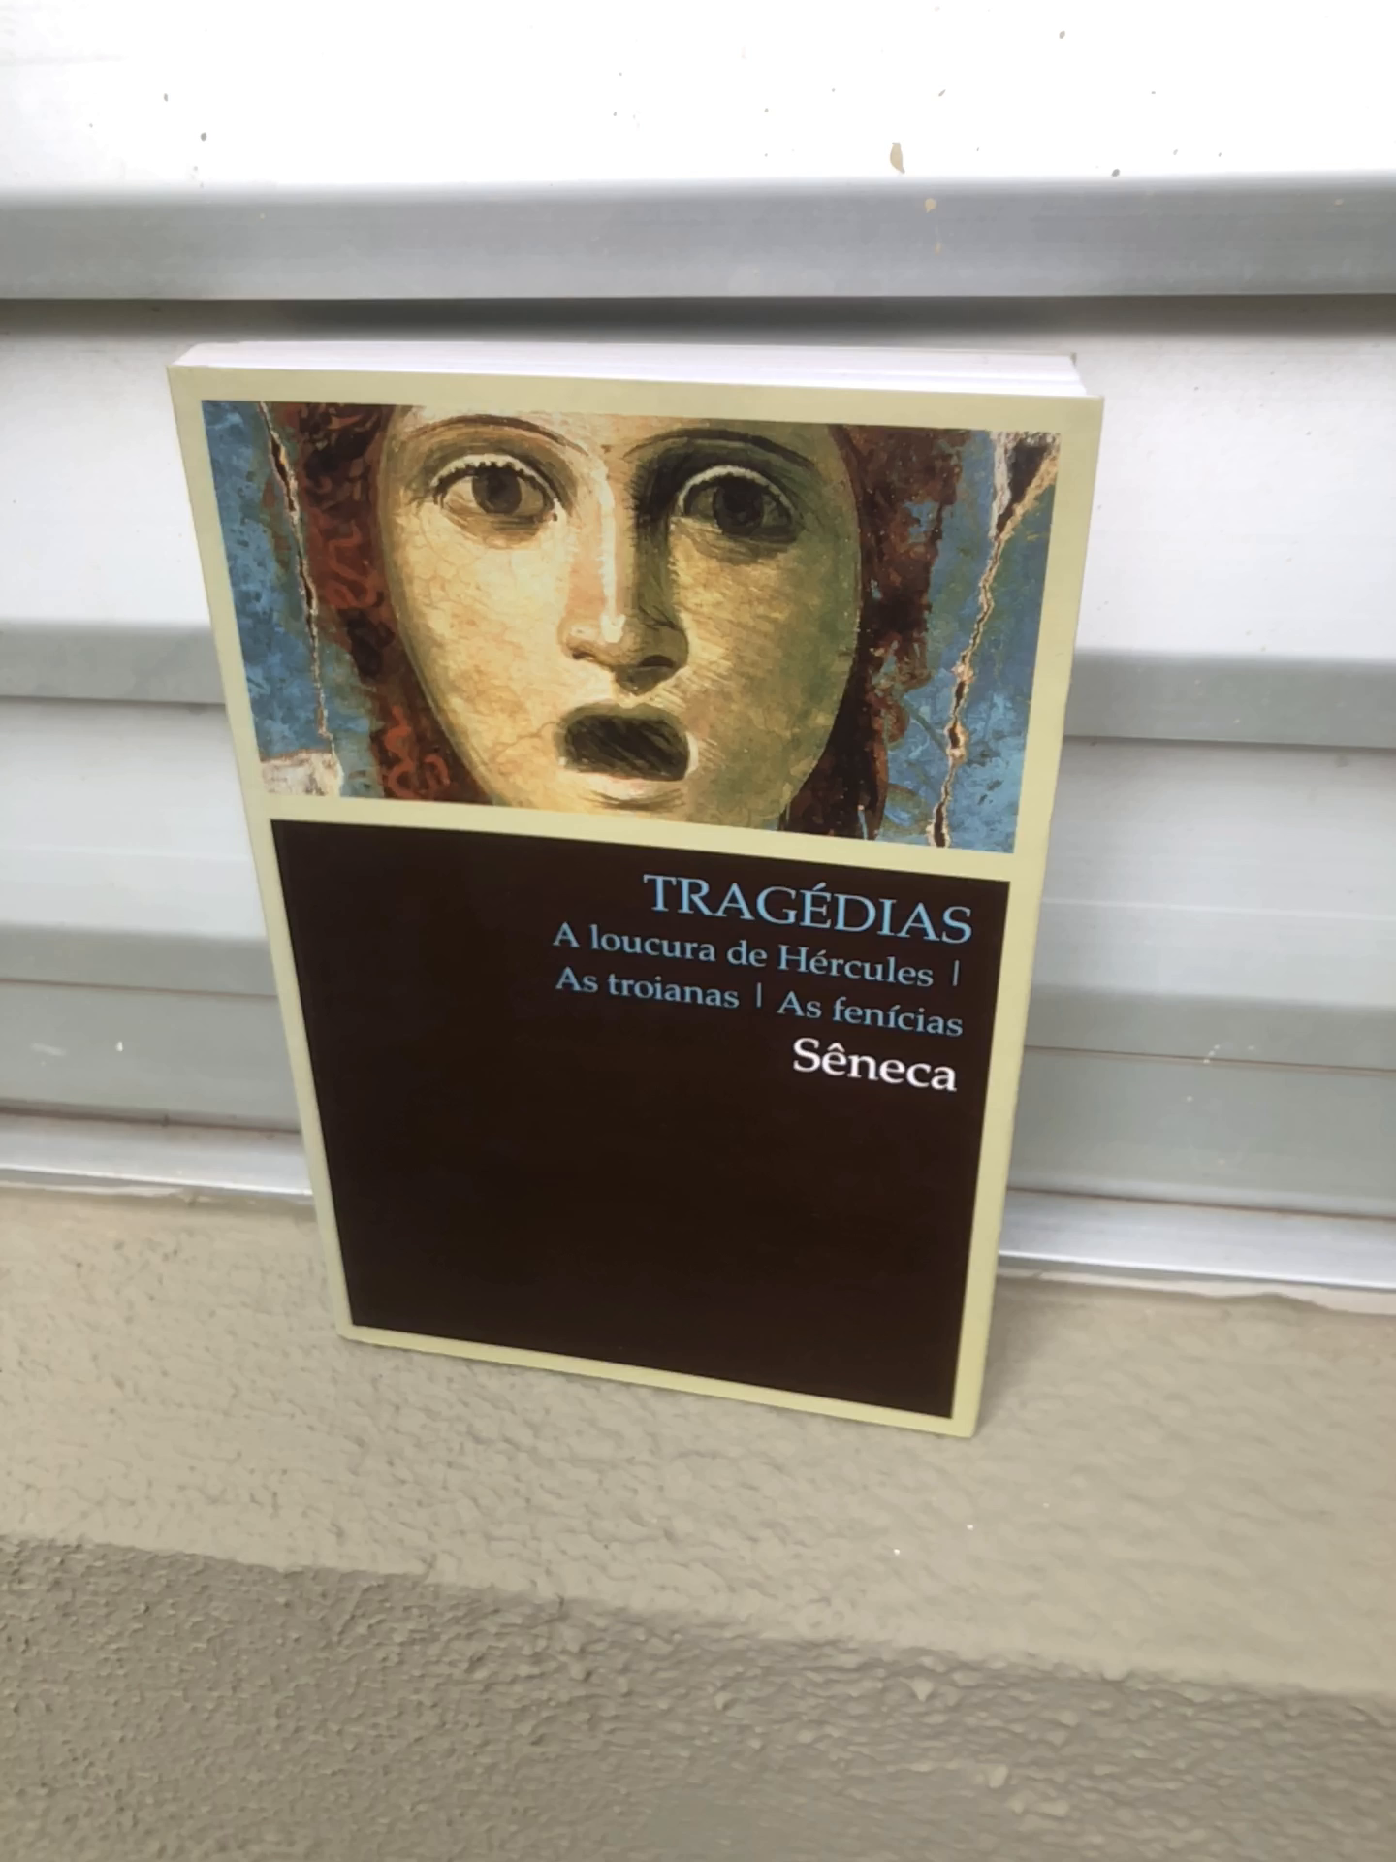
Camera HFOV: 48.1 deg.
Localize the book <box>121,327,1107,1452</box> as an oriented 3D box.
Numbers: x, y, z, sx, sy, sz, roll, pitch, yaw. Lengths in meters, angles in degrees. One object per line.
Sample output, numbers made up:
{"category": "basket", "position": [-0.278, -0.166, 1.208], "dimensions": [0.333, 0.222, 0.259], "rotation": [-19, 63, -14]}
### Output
{"category": "book", "position": [-0.013, 0.000, 0.279], "dimensions": [0.144, 0.196, 0.026], "rotation": [7, 30, 13]}
